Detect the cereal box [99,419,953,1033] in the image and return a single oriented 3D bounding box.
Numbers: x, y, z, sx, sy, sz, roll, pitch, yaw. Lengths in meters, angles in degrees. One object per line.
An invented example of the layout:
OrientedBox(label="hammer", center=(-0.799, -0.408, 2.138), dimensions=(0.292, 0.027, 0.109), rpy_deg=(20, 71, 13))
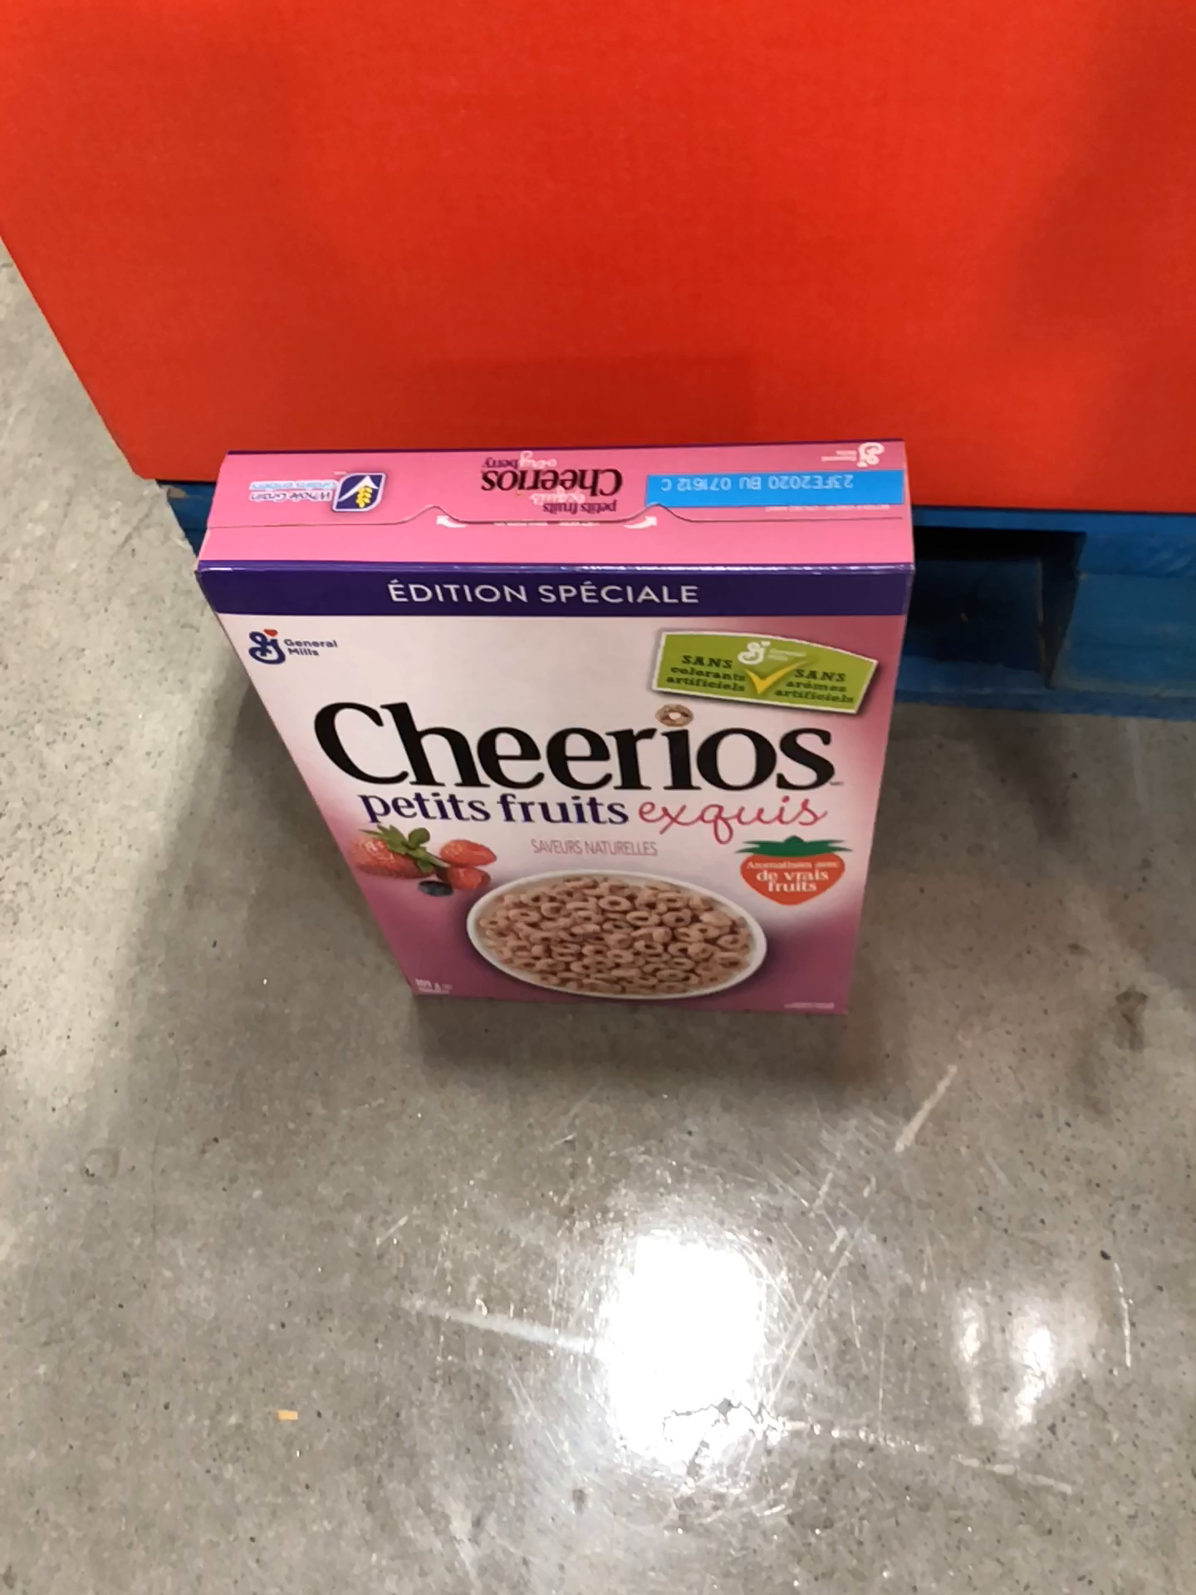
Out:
OrientedBox(label="cereal box", center=(-0.007, -0.005, 0.470), dimensions=(0.220, 0.279, 0.060), rpy_deg=(2, 58, 8))
